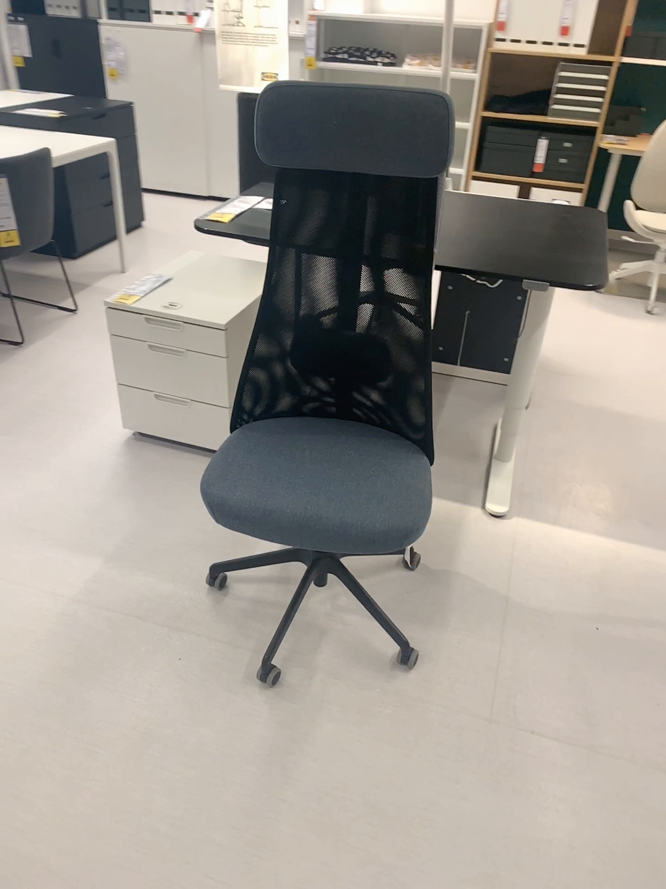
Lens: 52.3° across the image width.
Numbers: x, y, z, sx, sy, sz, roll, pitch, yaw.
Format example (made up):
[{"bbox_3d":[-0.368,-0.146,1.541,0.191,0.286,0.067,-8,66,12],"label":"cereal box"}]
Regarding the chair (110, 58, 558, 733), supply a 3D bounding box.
[{"bbox_3d":[0.038,-0.116,1.593,0.640,1.304,0.733,10,33,10],"label":"chair"}]
